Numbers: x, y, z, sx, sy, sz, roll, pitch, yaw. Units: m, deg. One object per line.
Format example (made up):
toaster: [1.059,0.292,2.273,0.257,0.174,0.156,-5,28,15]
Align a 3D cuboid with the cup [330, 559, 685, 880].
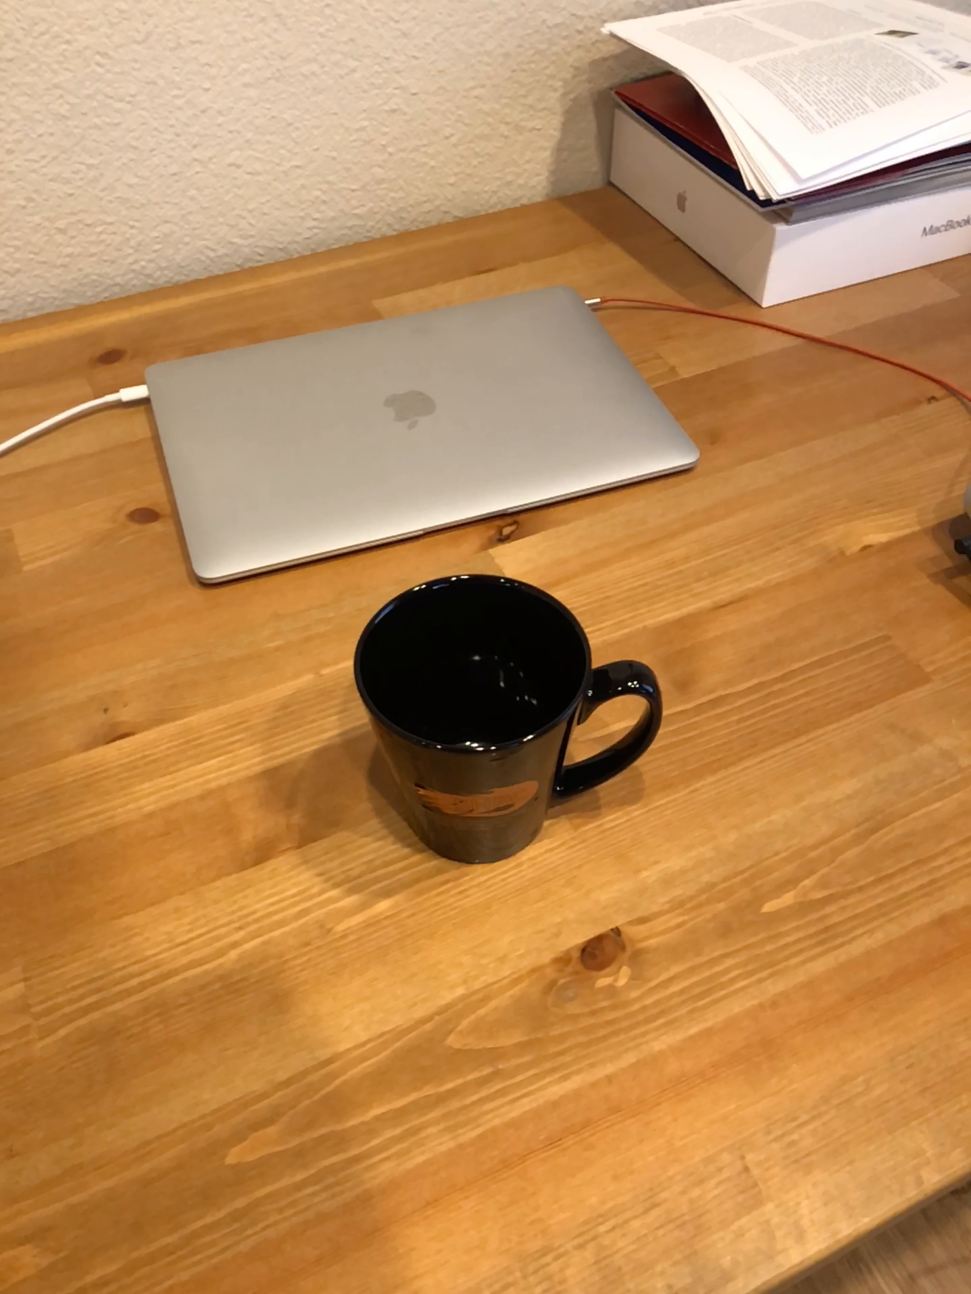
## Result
cup: [0.009,0.029,0.428,0.120,0.090,0.090,0,47,2]
